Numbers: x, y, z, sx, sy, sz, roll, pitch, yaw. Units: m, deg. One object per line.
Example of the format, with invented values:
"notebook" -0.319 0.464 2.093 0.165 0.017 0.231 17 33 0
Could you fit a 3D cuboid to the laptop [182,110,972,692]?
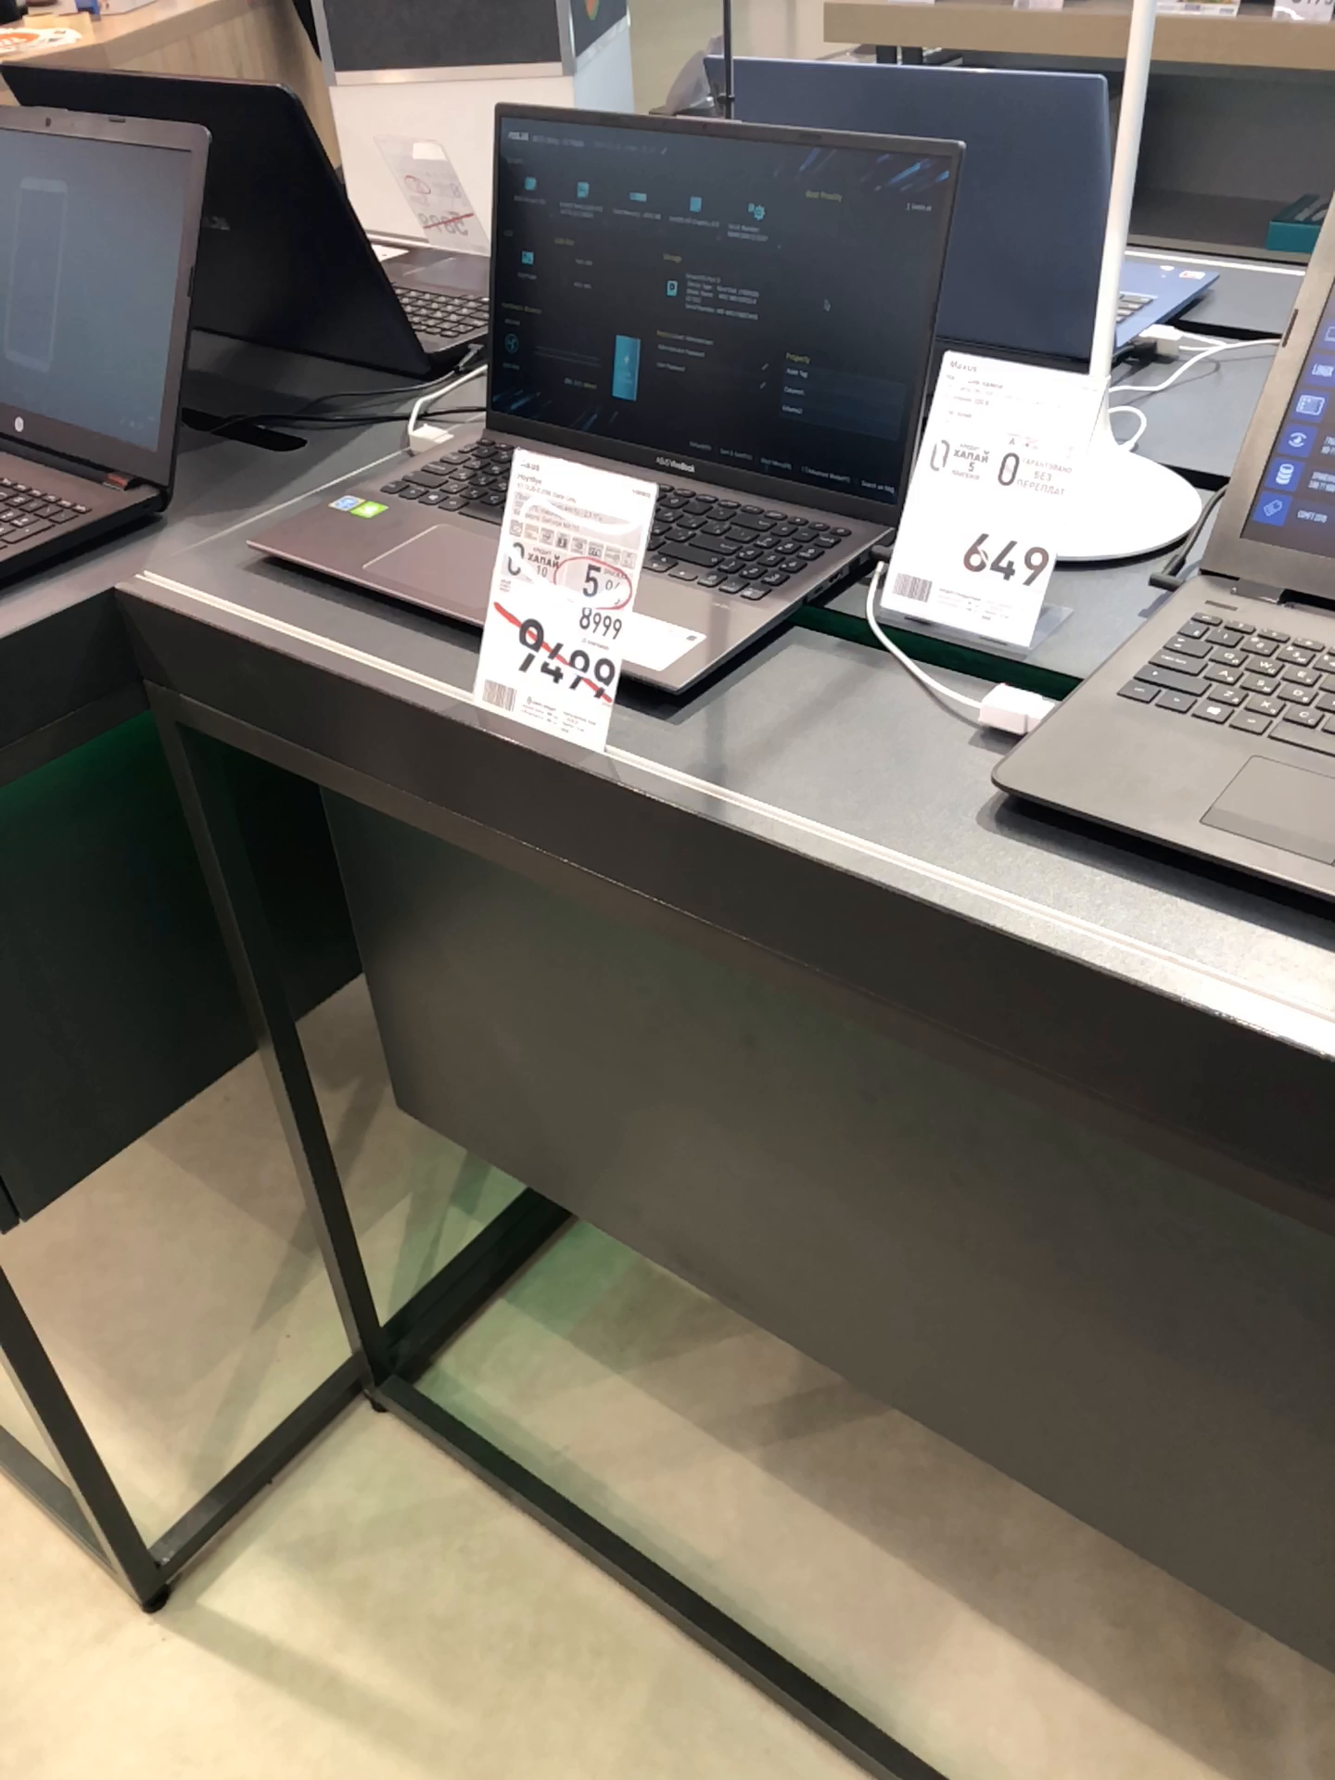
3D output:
"laptop" -0.049 -0.318 0.881 0.356 0.200 0.287 23 46 34
